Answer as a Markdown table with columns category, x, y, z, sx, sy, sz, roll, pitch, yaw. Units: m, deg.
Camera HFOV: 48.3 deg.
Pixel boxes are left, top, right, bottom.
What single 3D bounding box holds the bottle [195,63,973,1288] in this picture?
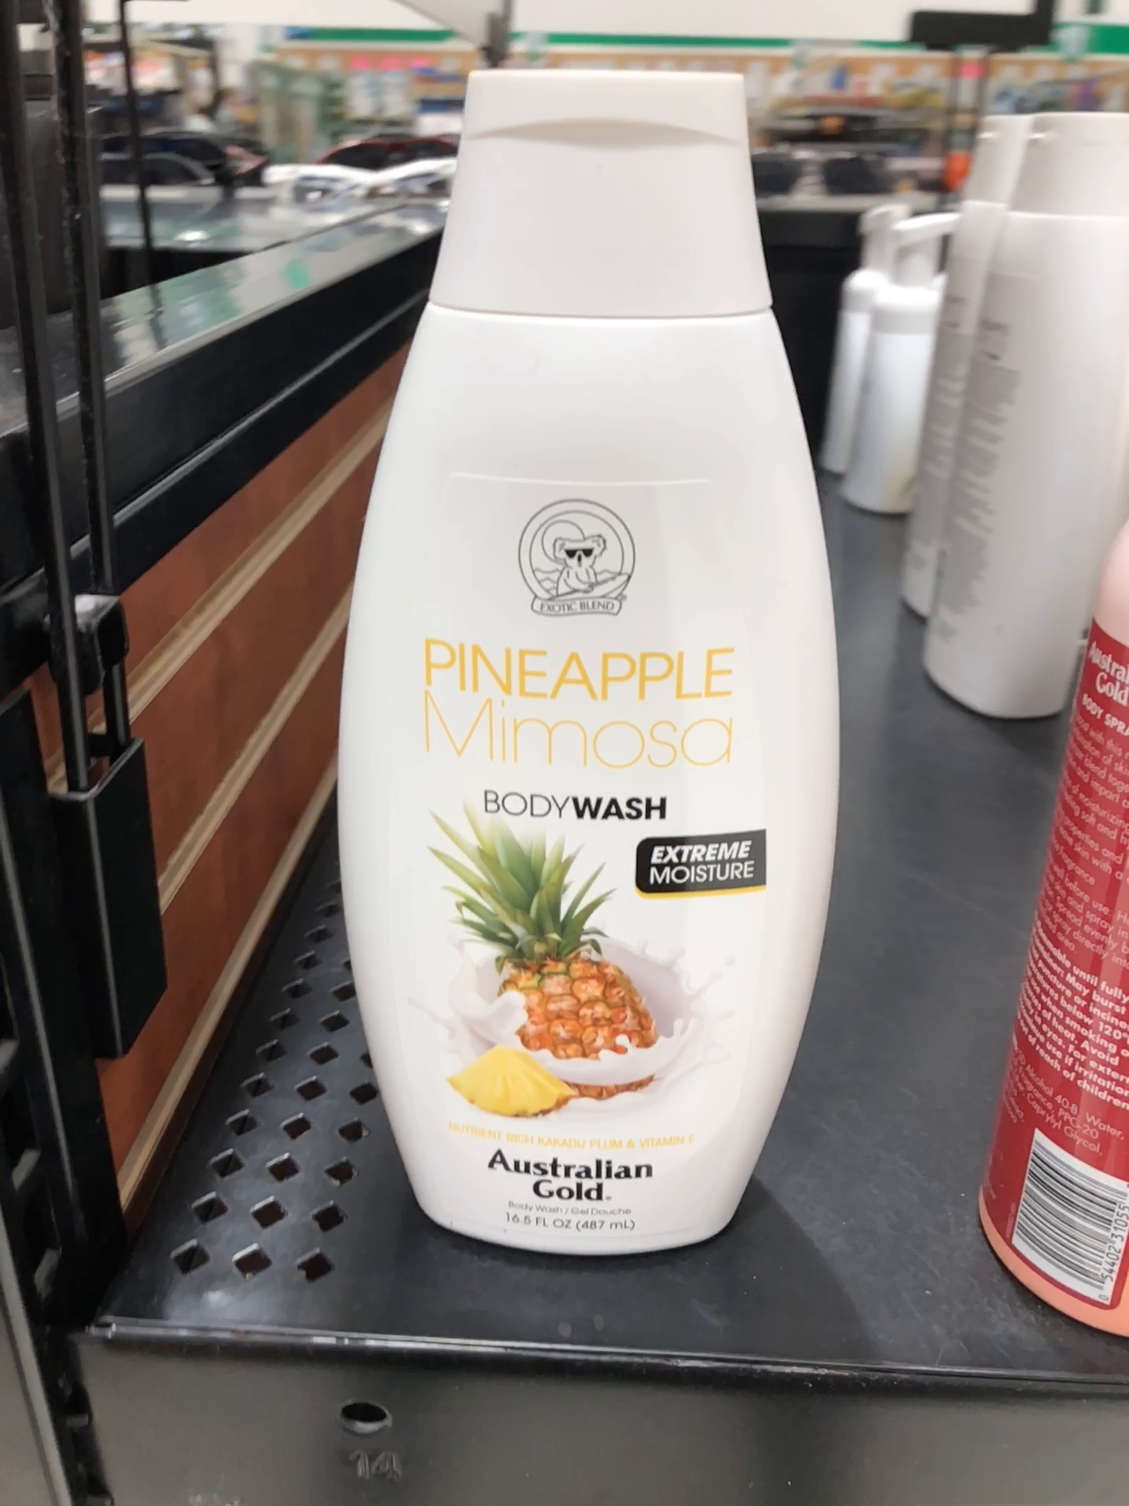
| category | x | y | z | sx | sy | sz | roll | pitch | yaw |
| --- | --- | --- | --- | --- | --- | --- | --- | --- | --- |
| bottle | 0.002 | -0.005 | 0.235 | 0.100 | 0.214 | 0.060 | 2 | 26 | 3 |
